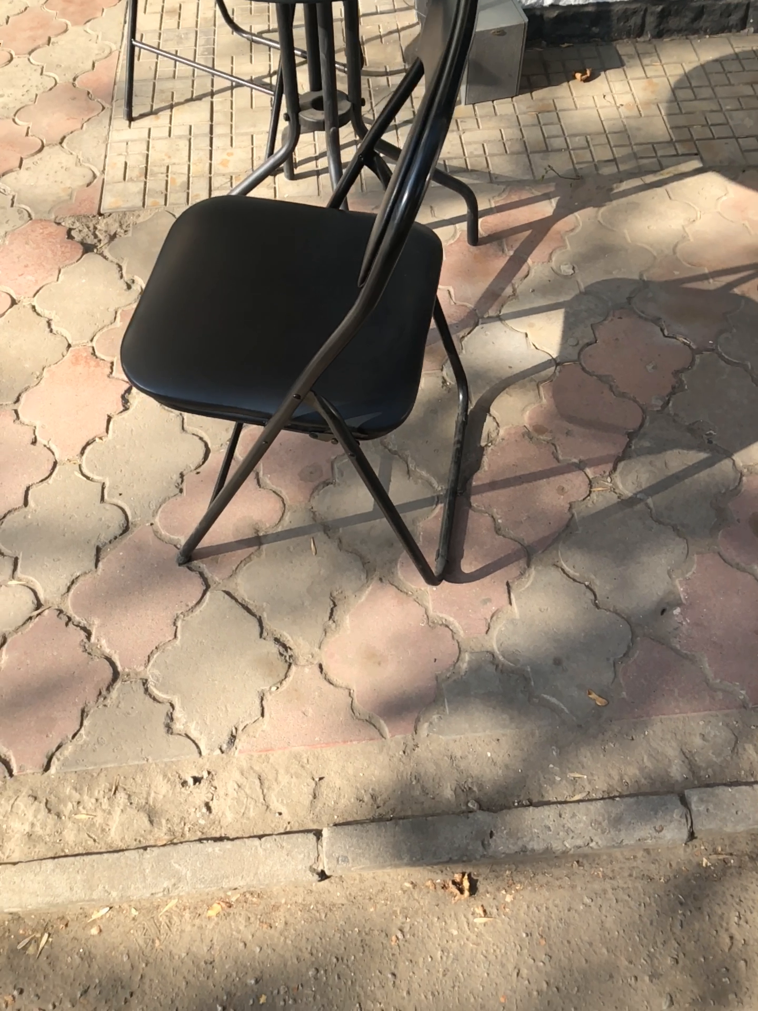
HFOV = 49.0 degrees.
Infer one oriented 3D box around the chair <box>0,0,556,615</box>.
[{"bbox_3d":[-0.082,-0.269,1.080,0.500,0.638,0.531,6,57,5],"label":"chair"}]
